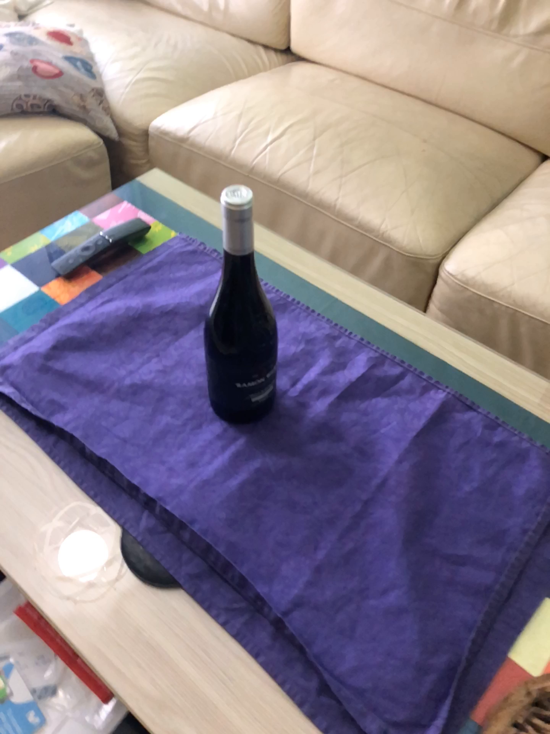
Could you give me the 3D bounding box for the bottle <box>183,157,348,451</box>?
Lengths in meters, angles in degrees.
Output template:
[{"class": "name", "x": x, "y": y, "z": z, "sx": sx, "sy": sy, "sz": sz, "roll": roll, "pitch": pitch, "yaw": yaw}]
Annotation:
[{"class": "bottle", "x": -0.014, "y": -0.048, "z": 0.592, "sx": 0.100, "sy": 0.269, "sz": 0.100, "roll": 1, "pitch": 49, "yaw": -1}]
